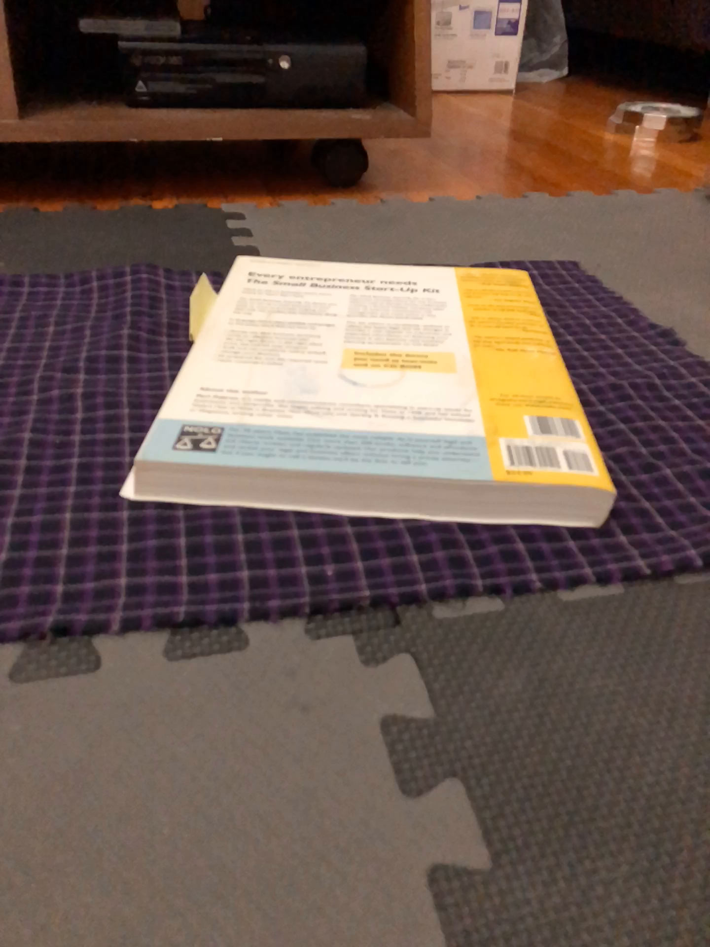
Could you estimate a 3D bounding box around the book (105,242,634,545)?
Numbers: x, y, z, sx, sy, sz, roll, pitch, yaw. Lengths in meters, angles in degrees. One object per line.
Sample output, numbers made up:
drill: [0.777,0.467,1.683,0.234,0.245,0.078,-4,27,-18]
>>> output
book: [0.012,-0.074,0.473,0.230,0.030,0.312,4,33,1]
